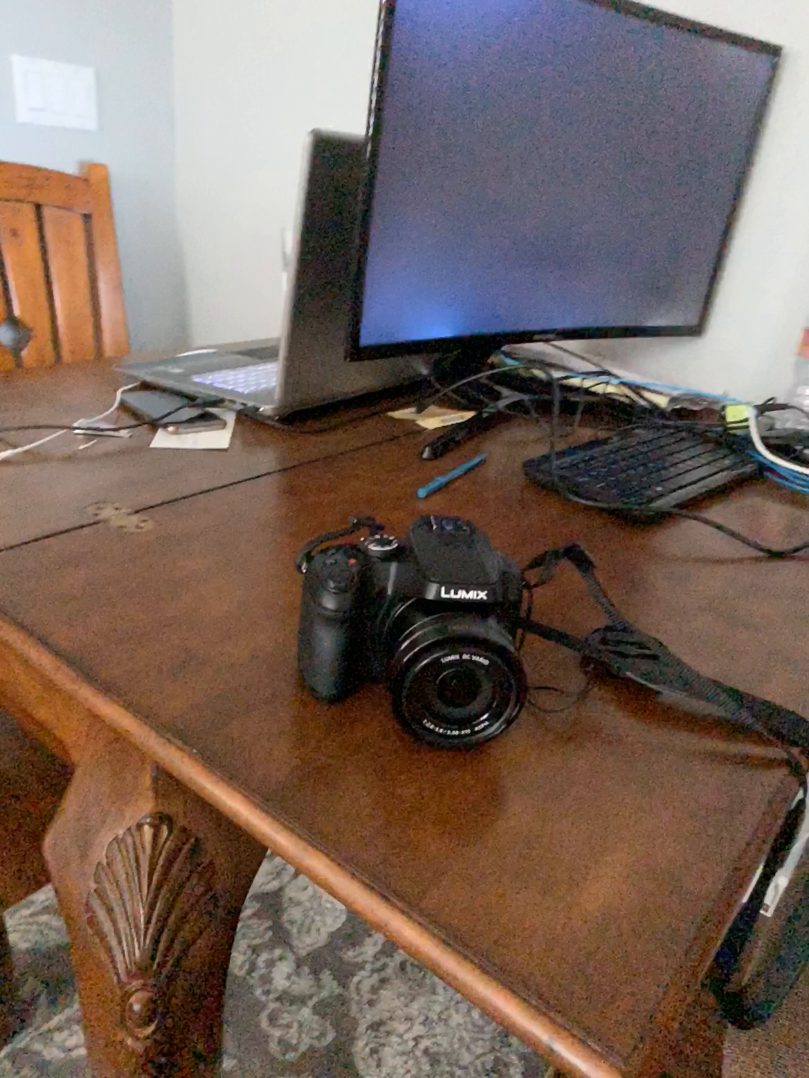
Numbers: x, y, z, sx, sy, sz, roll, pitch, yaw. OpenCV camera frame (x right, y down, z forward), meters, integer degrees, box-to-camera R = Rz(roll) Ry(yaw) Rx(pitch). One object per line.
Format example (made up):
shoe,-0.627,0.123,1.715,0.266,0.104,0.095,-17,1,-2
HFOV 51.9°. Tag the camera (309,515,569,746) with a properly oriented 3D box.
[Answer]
camera,0.012,0.051,0.494,0.130,0.089,0.111,2,24,-8
